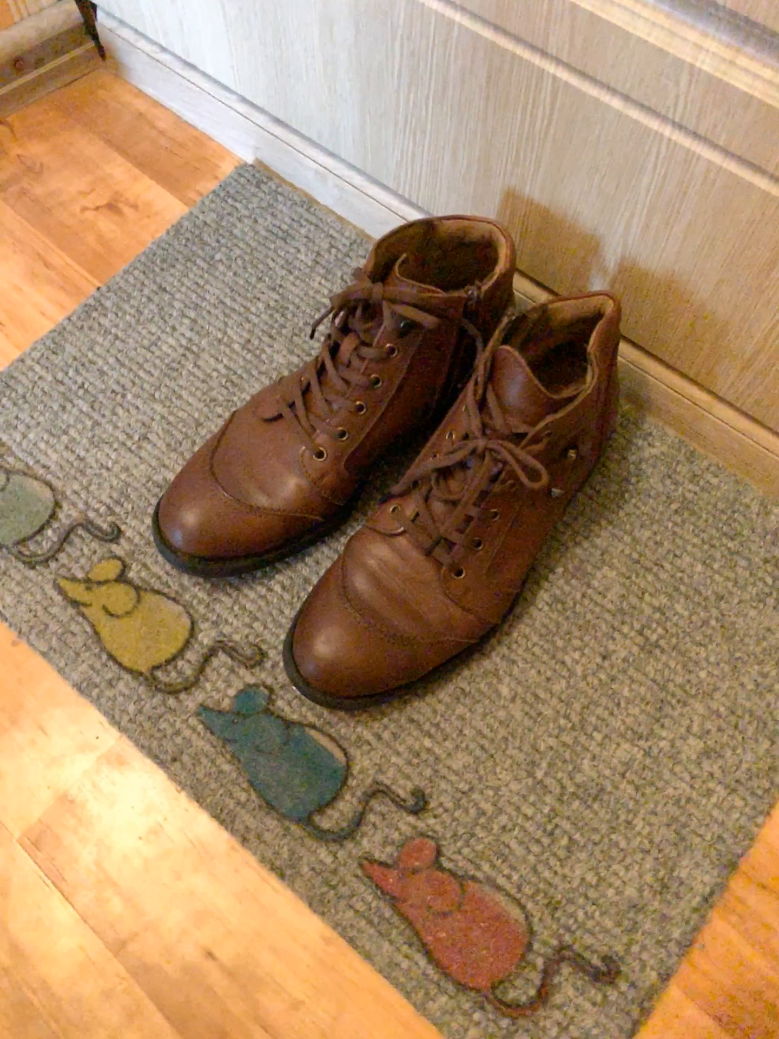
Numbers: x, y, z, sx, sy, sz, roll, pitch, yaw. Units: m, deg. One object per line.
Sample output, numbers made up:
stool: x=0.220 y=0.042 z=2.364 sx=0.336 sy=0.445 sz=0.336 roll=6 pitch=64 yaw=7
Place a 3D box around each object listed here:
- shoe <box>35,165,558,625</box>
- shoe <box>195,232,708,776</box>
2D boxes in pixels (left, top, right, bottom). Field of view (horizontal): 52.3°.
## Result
shoe: x=-0.045 y=-0.072 z=0.486 sx=0.260 sy=0.140 sz=0.110 roll=-34 pitch=71 yaw=-14
shoe: x=0.039 y=-0.007 z=0.454 sx=0.110 sy=0.140 sz=0.270 roll=37 pitch=71 yaw=15
